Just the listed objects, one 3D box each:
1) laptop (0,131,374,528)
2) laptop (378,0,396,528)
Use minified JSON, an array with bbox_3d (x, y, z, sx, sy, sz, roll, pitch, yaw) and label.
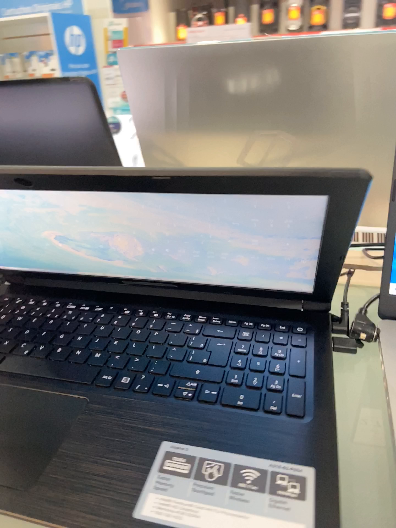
[{"bbox_3d":[-0.091,0.016,0.306,0.375,0.169,0.231,4,28,15],"label":"laptop"},{"bbox_3d":[0.316,0.001,0.216,0.362,0.227,0.315,5,27,17],"label":"laptop"}]
